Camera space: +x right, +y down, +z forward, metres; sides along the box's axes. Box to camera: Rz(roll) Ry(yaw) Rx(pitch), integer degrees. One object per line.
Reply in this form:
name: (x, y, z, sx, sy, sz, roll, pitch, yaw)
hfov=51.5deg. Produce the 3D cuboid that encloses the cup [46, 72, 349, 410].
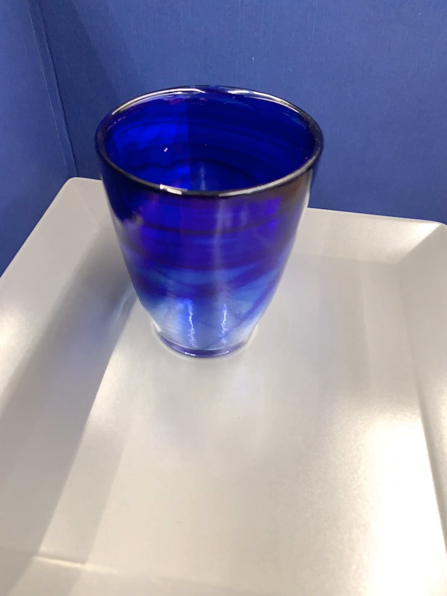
cup: (-0.012, -0.029, 0.220, 0.088, 0.111, 0.082, 1, 43, -1)
